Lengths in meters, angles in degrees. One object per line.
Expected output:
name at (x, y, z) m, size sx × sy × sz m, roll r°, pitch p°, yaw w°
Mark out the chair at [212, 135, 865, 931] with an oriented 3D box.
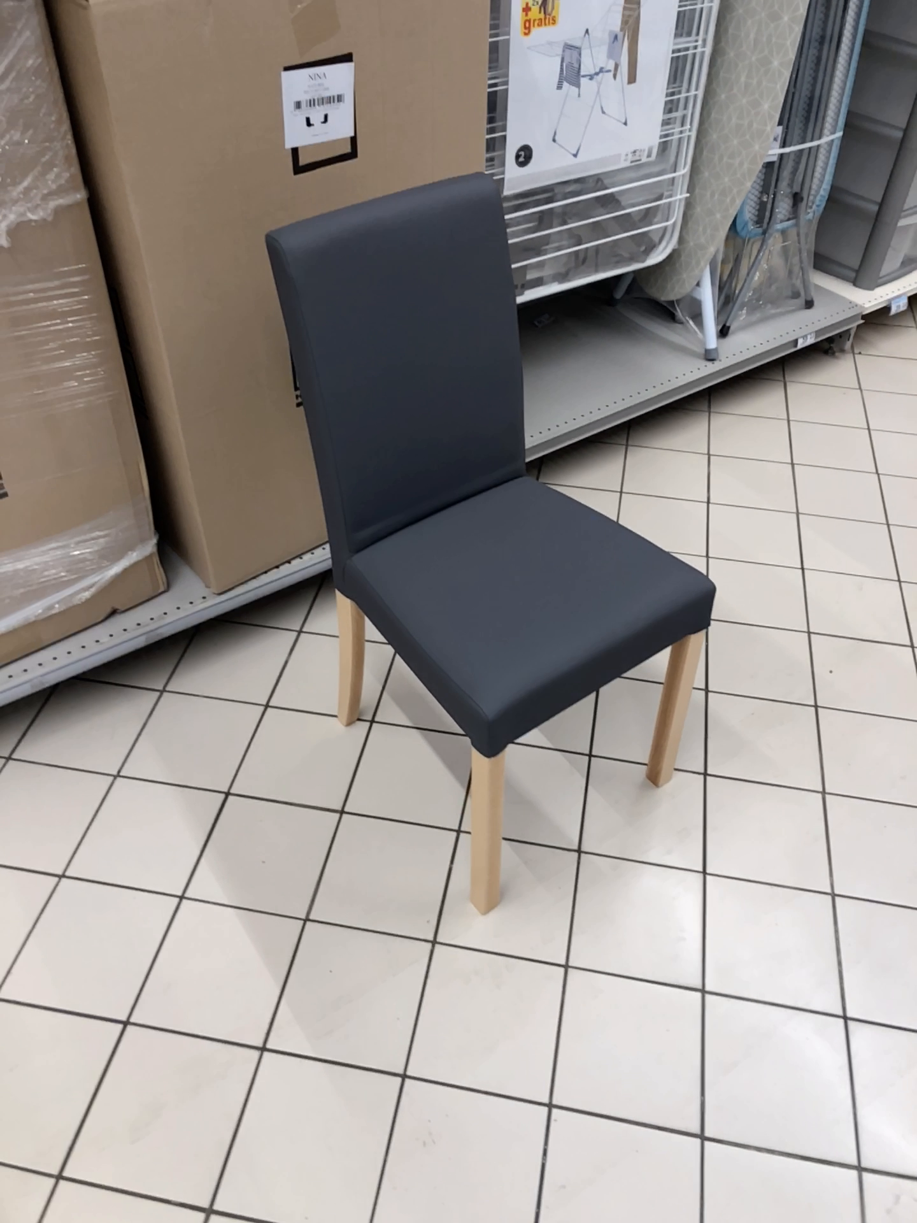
chair at (0.070, -0.106, 1.400) m, size 0.472 × 0.825 × 0.571 m, roll -28°, pitch 50°, yaw -27°
